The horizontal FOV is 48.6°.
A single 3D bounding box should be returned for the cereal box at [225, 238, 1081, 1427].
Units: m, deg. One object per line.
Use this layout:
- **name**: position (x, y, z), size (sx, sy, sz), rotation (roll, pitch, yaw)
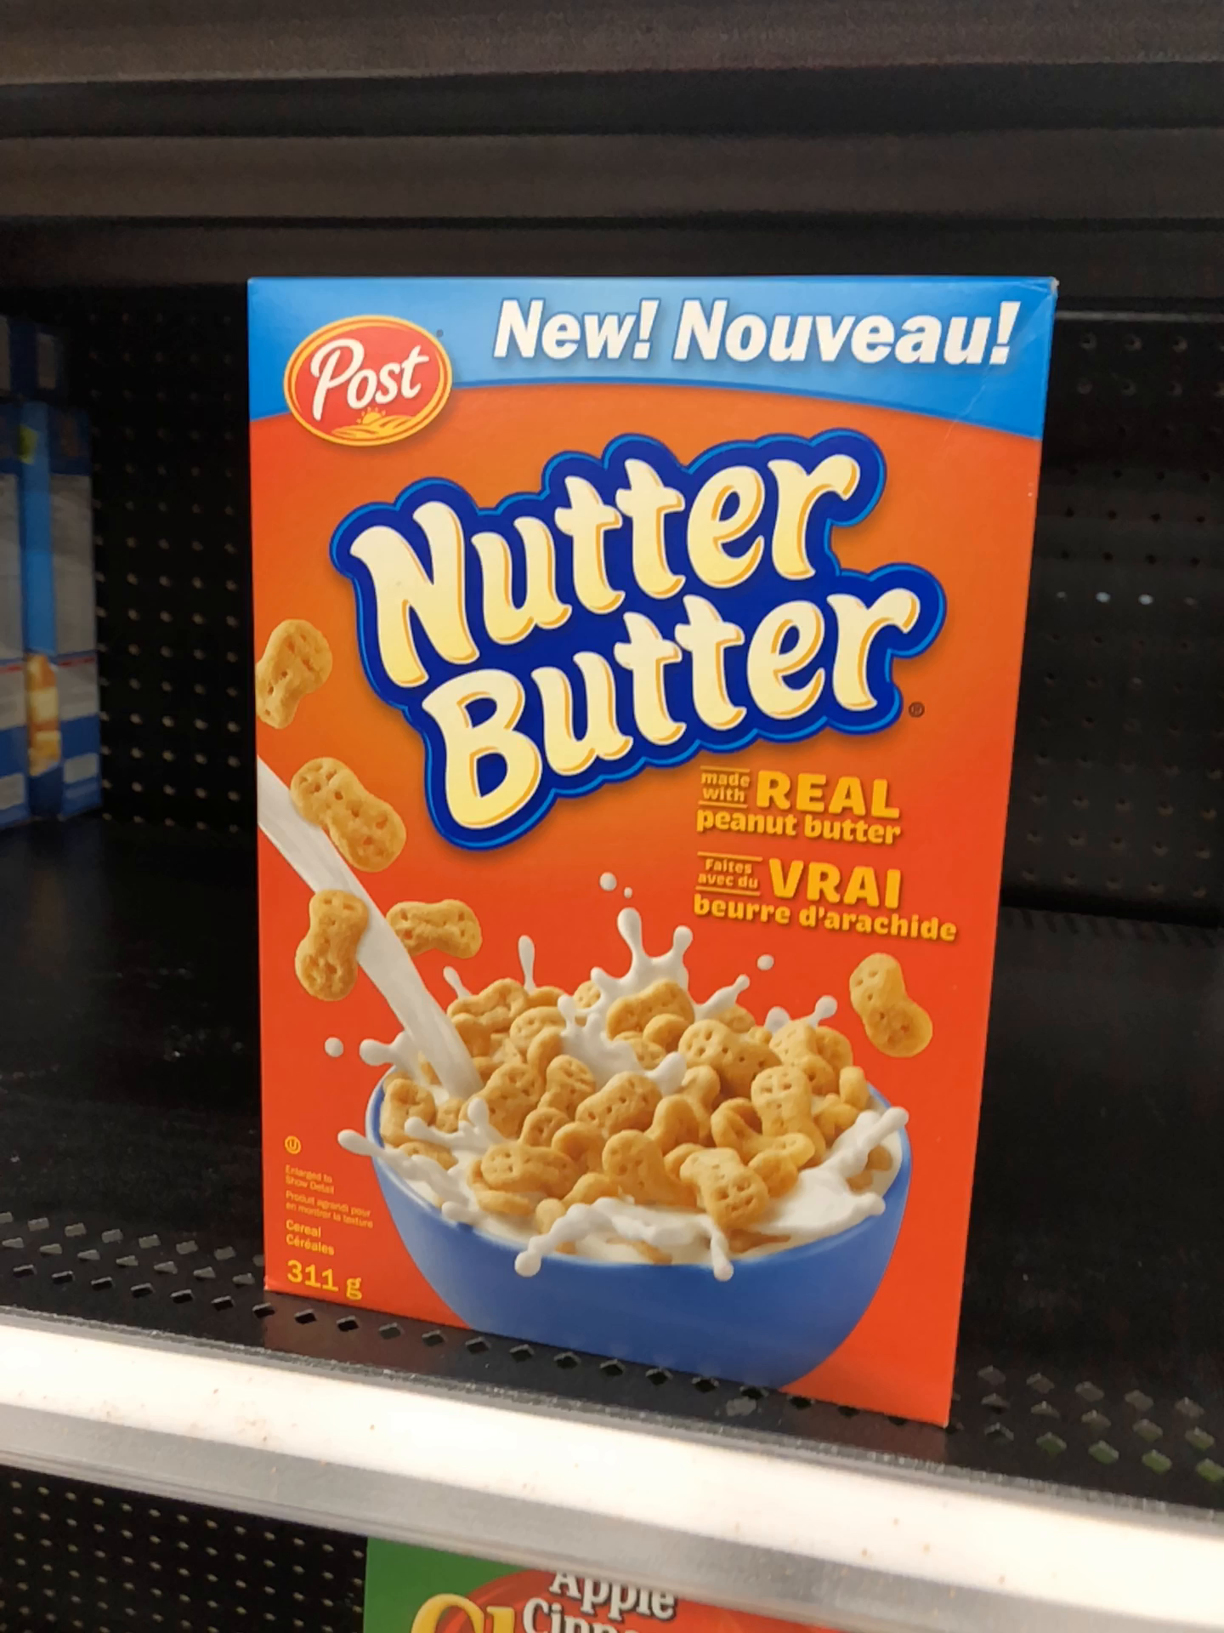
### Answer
- **cereal box**: position (0.004, 0.000, 0.364), size (0.200, 0.279, 0.060), rotation (5, 12, 14)
